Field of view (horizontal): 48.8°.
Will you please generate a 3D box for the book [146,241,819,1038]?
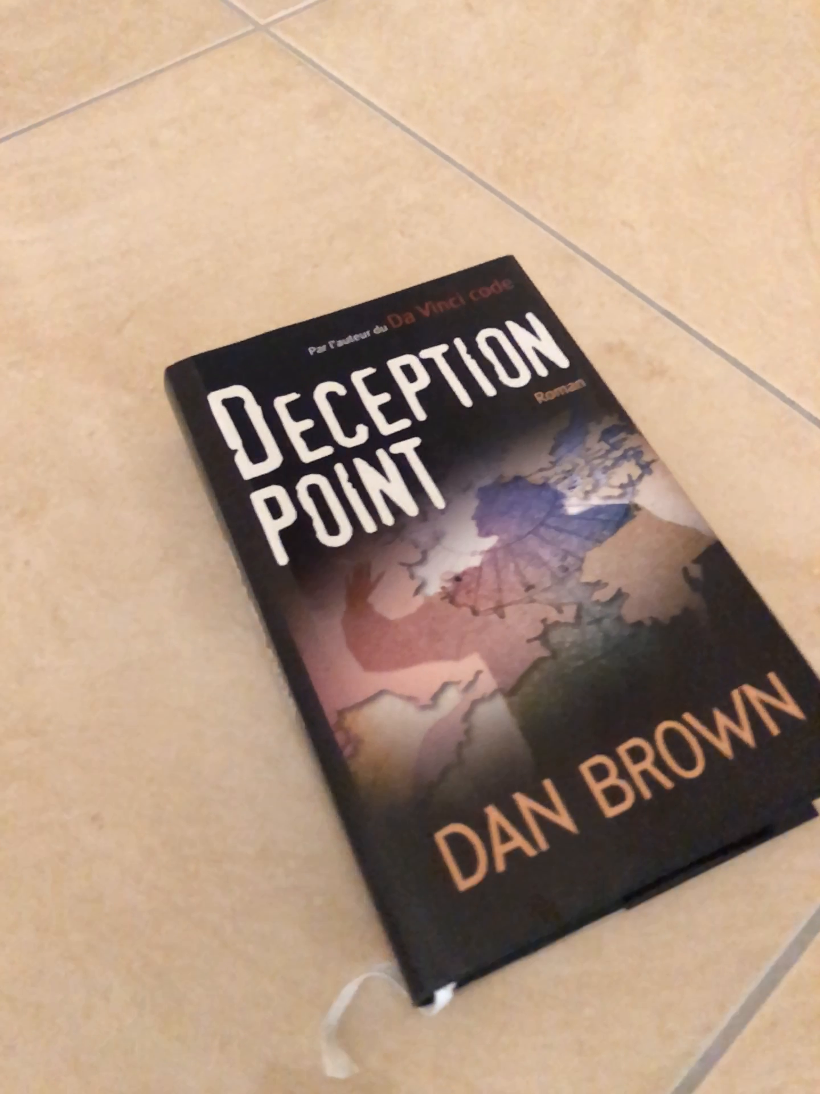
[{"bbox_3d":[0.019,0.007,0.276,0.137,0.037,0.212,-21,62,-12],"label":"book"}]
